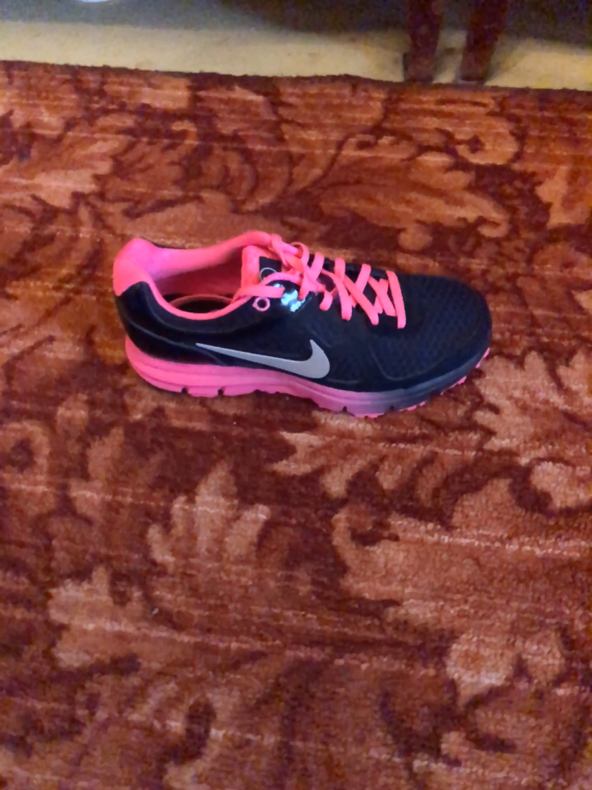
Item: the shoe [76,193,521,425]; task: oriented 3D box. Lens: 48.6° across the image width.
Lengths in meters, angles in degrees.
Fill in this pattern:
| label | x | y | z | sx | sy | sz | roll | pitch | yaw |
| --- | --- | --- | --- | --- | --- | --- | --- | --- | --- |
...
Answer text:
| label | x | y | z | sx | sy | sz | roll | pitch | yaw |
| --- | --- | --- | --- | --- | --- | --- | --- | --- | --- |
| shoe | 0.003 | -0.053 | 0.426 | 0.240 | 0.110 | 0.100 | 1 | 57 | 2 |
